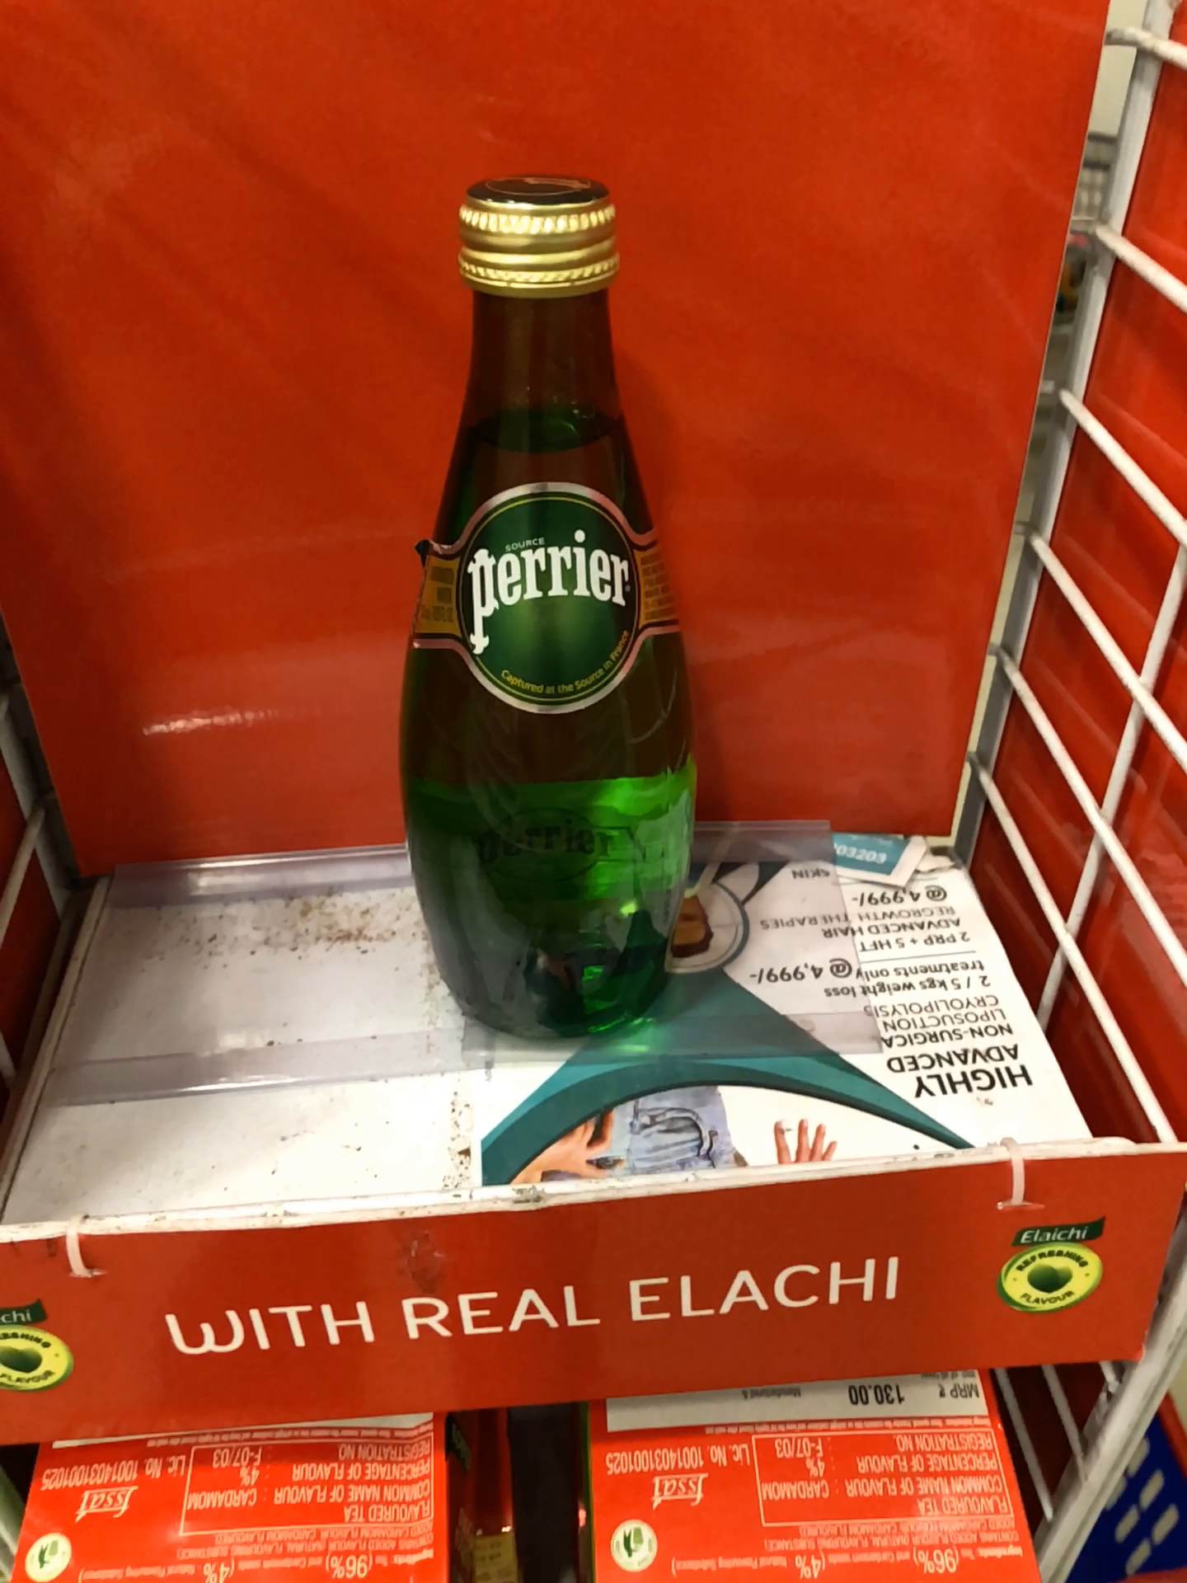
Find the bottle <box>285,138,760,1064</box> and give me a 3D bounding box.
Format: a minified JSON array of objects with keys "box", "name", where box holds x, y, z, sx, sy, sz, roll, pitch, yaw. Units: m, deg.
[{"box":[-0.012,-0.029,0.273,0.070,0.179,0.060,-4,38,-4],"name":"bottle"}]
